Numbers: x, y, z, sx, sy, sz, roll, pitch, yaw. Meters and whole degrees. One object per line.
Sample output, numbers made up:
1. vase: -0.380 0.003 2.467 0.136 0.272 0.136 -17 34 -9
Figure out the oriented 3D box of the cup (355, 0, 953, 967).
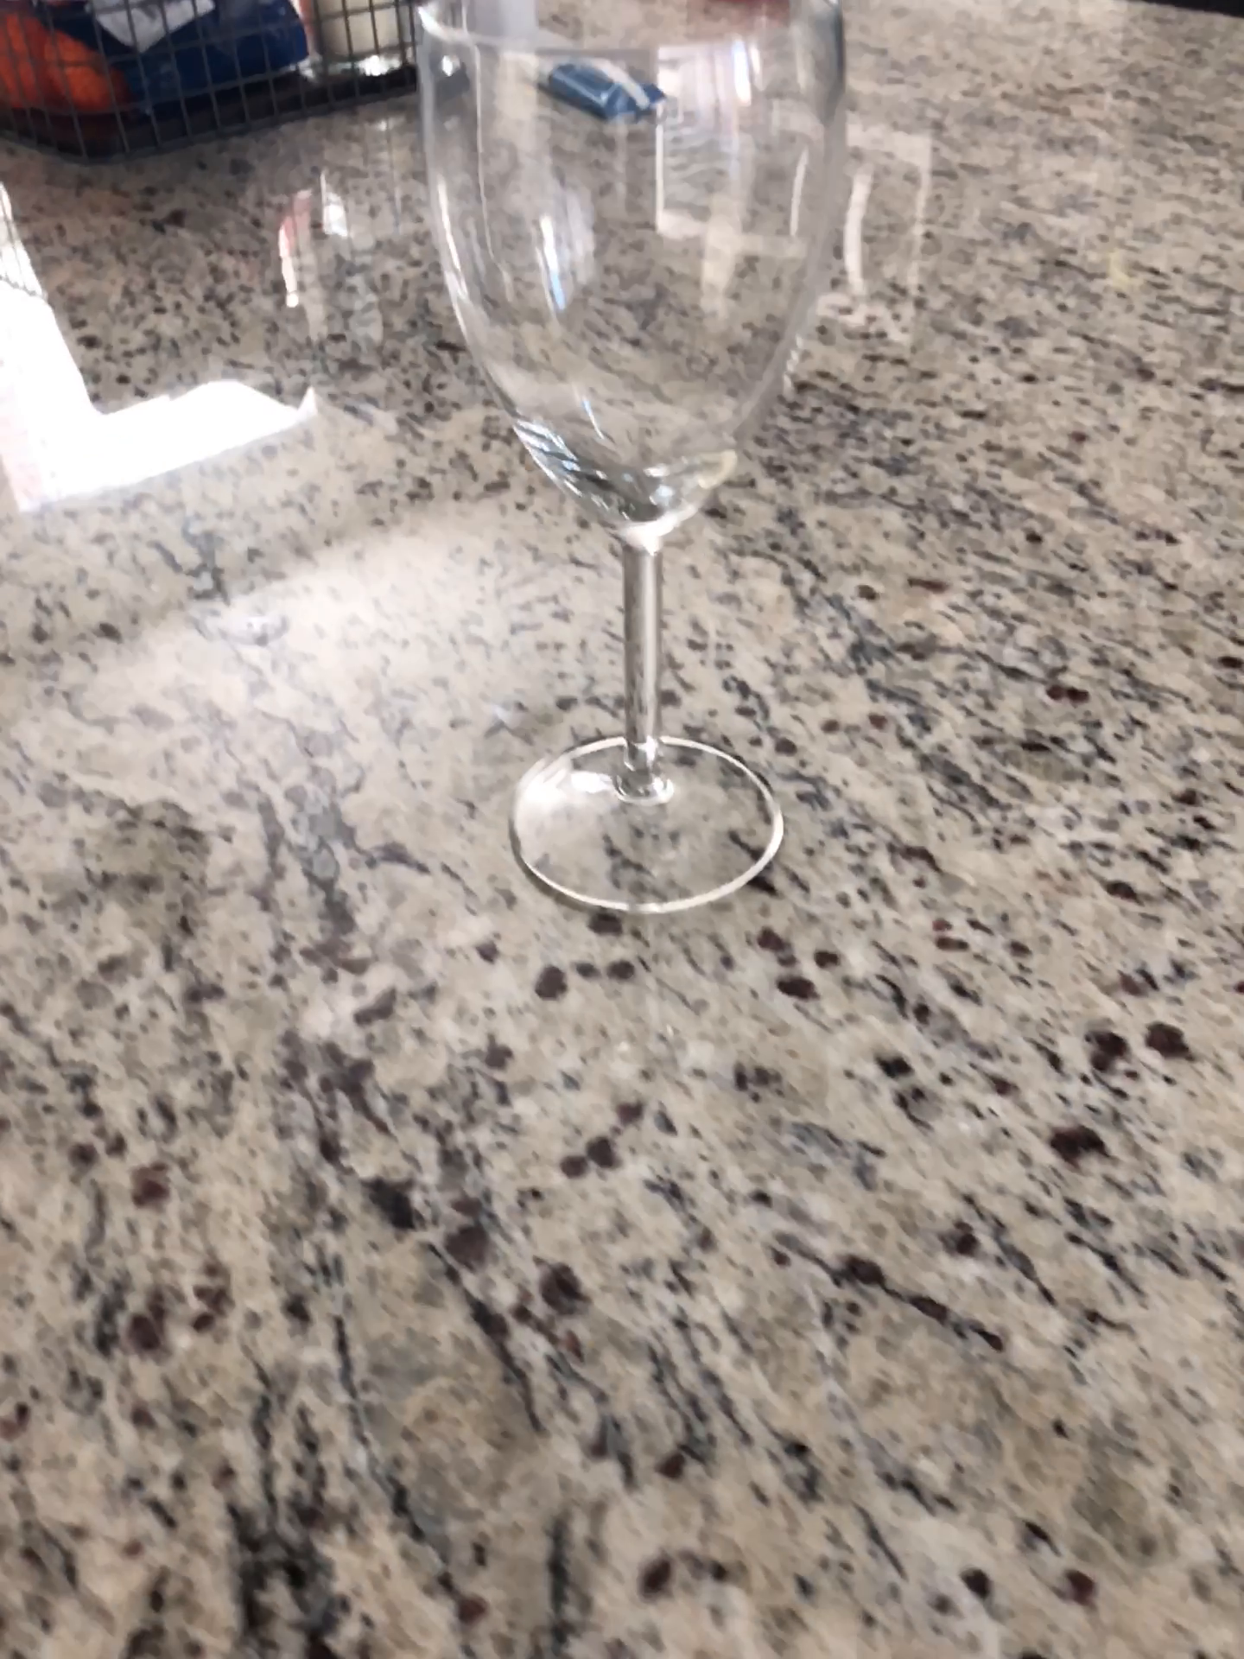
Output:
1. cup: 0.001 -0.067 0.273 0.080 0.169 0.081 -1 39 1
